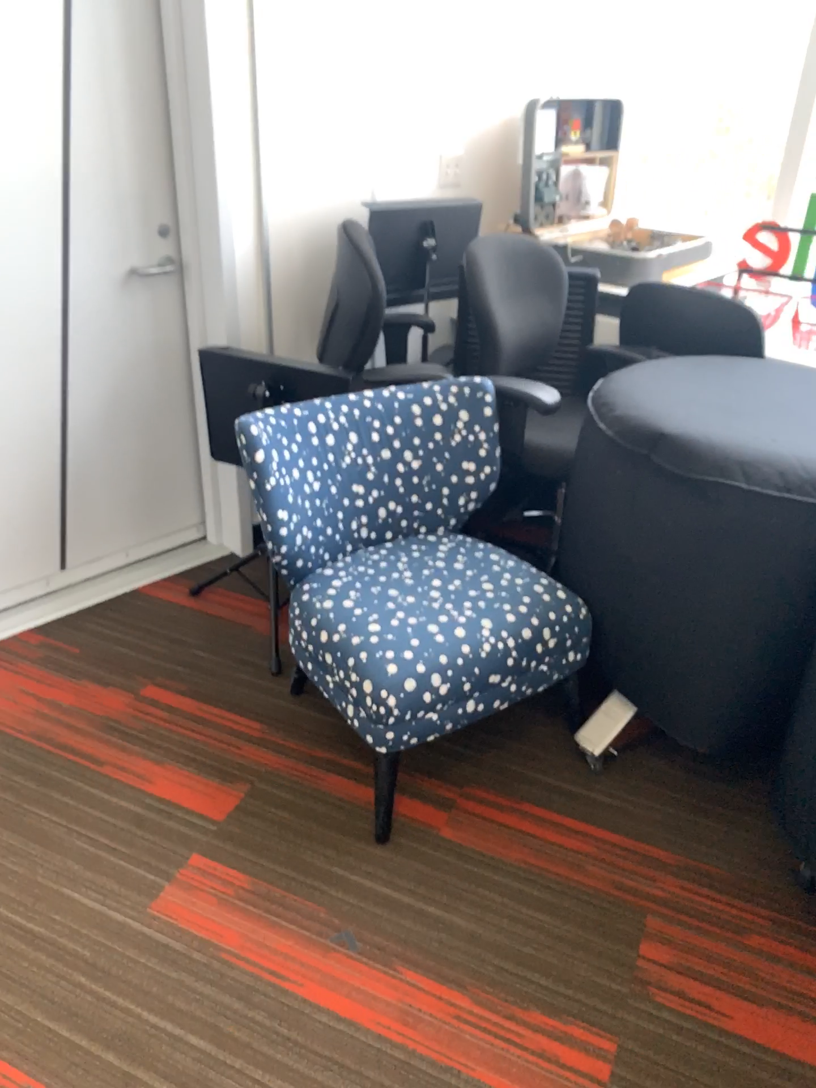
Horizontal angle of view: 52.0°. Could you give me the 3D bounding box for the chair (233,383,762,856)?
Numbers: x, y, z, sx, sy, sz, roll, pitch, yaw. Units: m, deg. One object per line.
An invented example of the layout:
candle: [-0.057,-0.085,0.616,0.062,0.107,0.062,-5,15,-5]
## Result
chair: [0.185,0.090,2.157,1.001,0.686,0.774,-14,32,-29]
